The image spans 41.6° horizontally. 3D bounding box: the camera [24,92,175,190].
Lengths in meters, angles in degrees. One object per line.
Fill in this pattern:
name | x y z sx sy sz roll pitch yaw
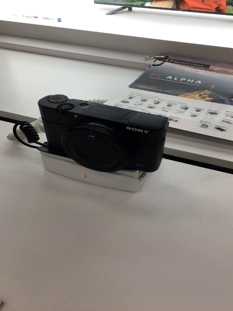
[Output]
camera | -0.014 -0.013 0.268 0.113 0.065 0.030 14 49 16
